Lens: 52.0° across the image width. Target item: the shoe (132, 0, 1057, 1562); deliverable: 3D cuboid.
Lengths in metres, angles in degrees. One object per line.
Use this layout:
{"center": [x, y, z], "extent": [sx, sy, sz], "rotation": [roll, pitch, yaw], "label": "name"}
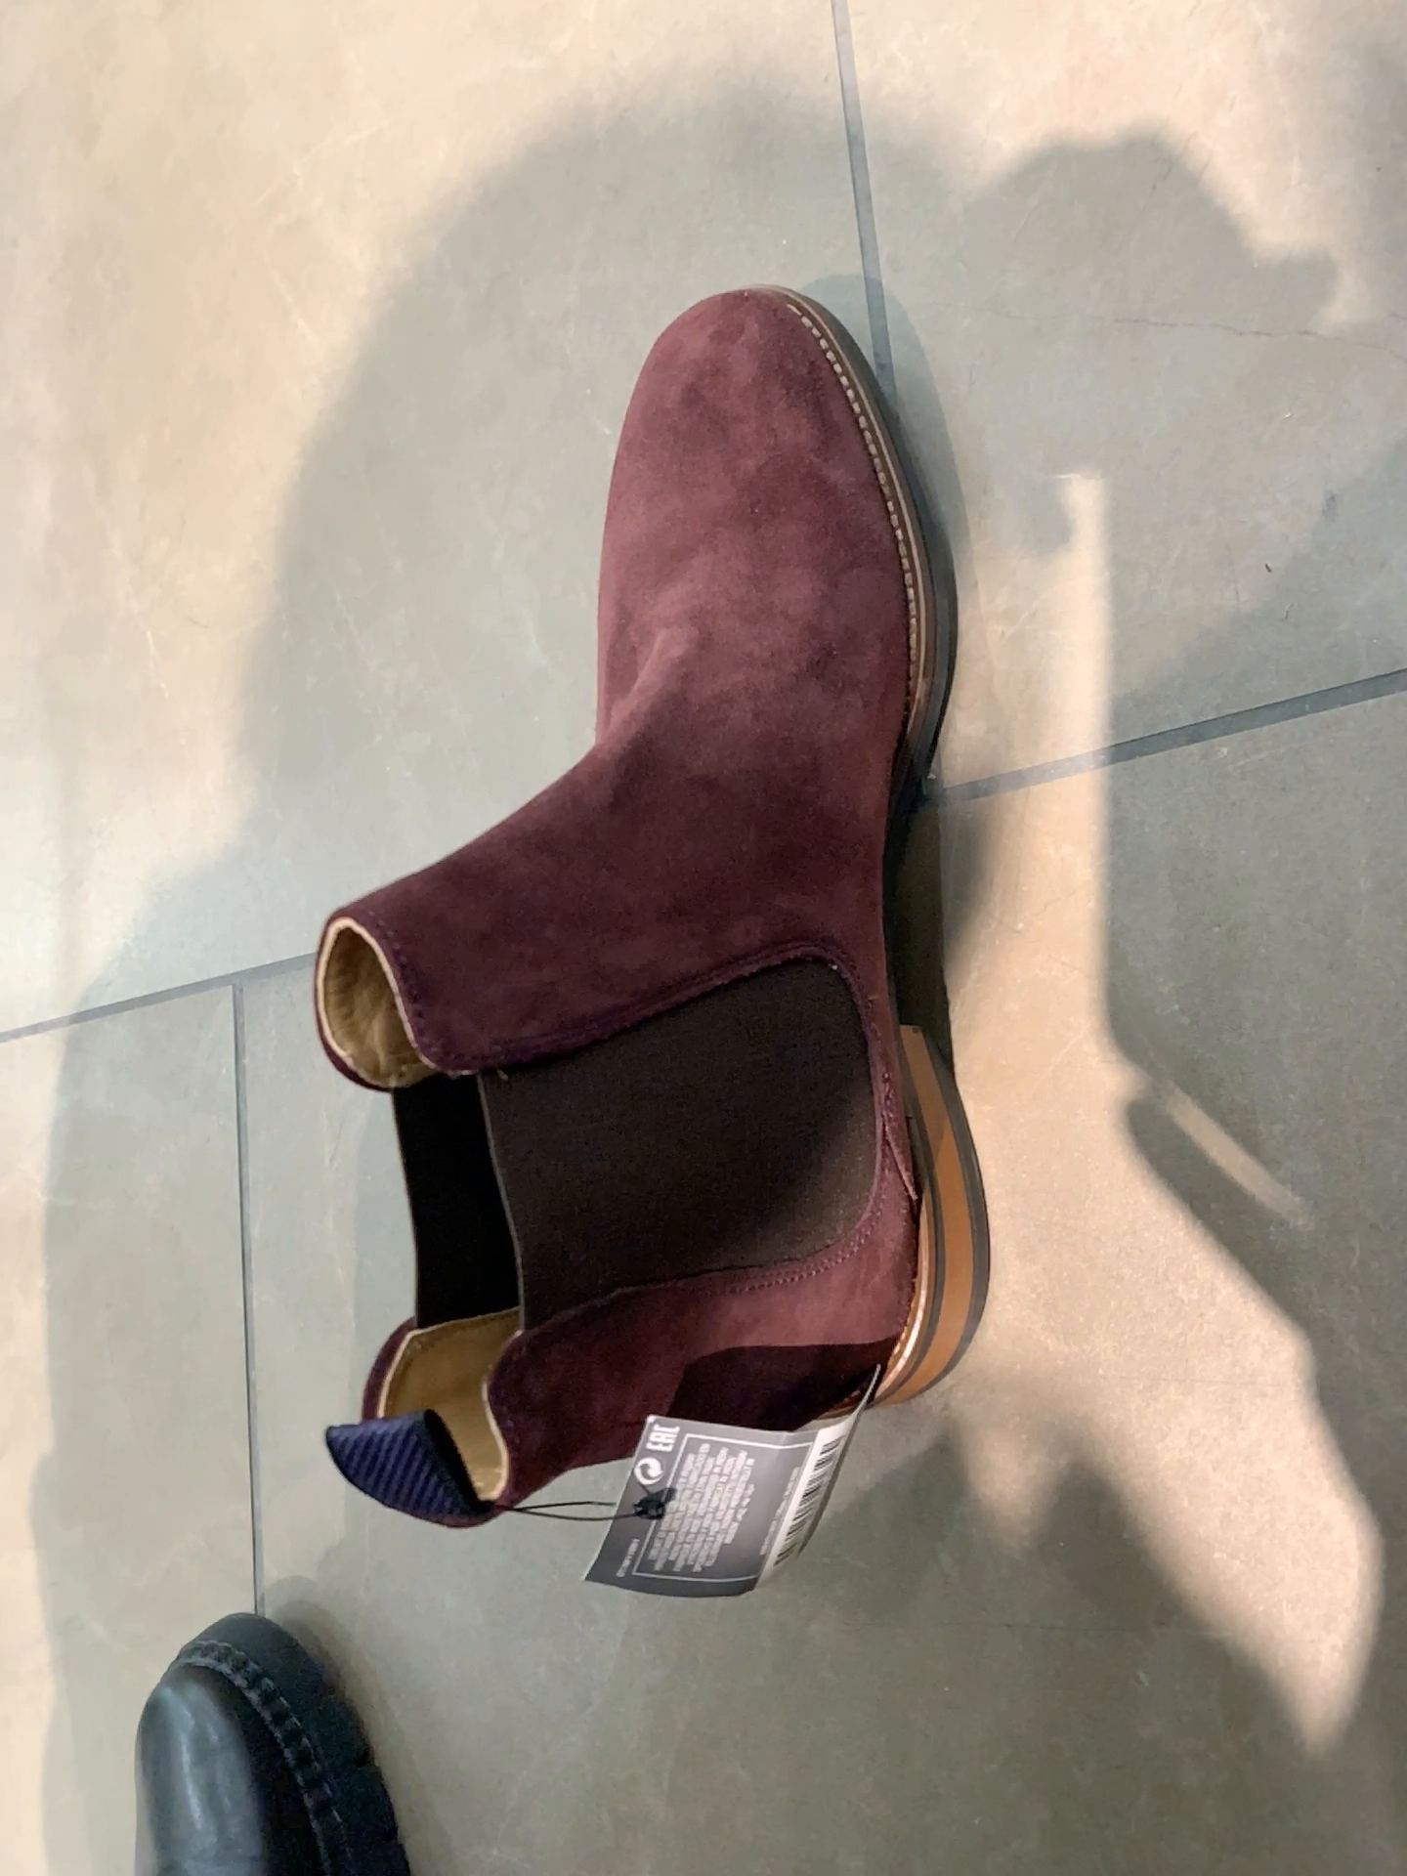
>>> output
{"center": [-0.026, -0.032, 0.345], "extent": [0.114, 0.161, 0.298], "rotation": [-15, 76, 36], "label": "shoe"}
